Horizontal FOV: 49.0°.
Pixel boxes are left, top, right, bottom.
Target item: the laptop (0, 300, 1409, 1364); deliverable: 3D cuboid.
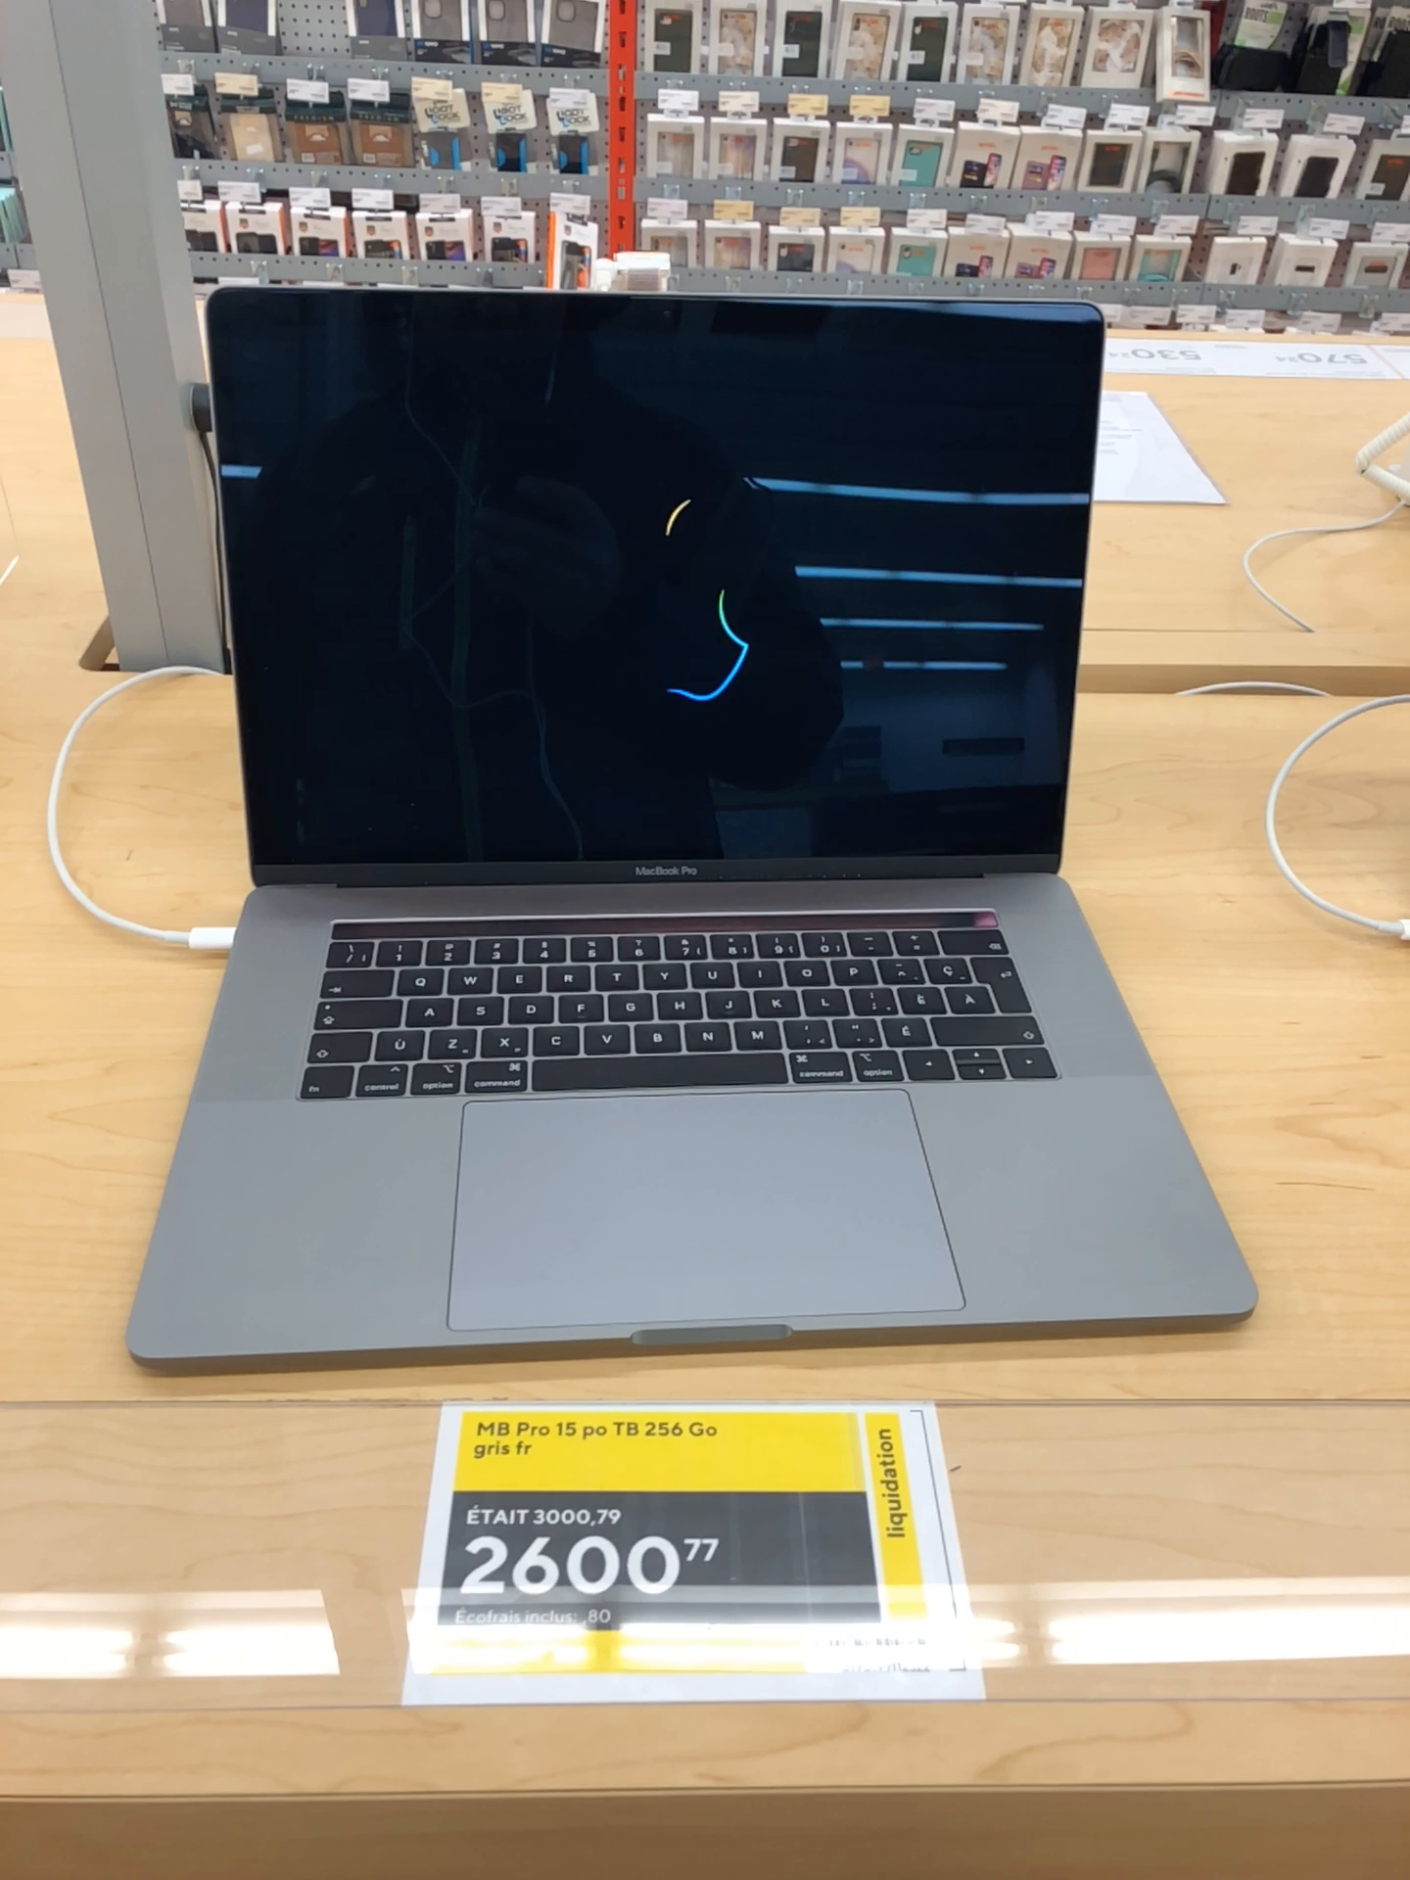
[{"bbox_3d":[-0.004,-0.059,0.517,0.329,0.212,0.299,-1,37,-6],"label":"laptop"}]
